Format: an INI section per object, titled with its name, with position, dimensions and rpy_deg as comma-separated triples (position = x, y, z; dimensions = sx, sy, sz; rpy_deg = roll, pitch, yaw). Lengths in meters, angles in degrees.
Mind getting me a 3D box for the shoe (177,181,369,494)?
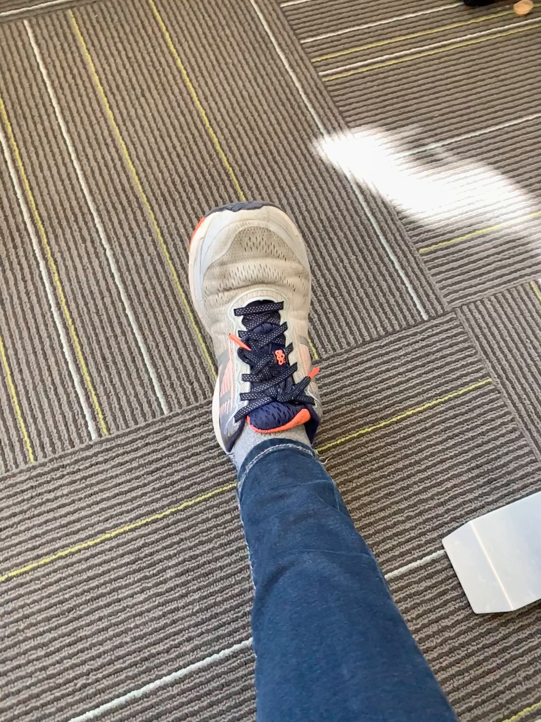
[shoe]
position = 0.001, -0.026, 0.477
dimensions = 0.120, 0.110, 0.230
rpy_deg = -10, 108, -7
